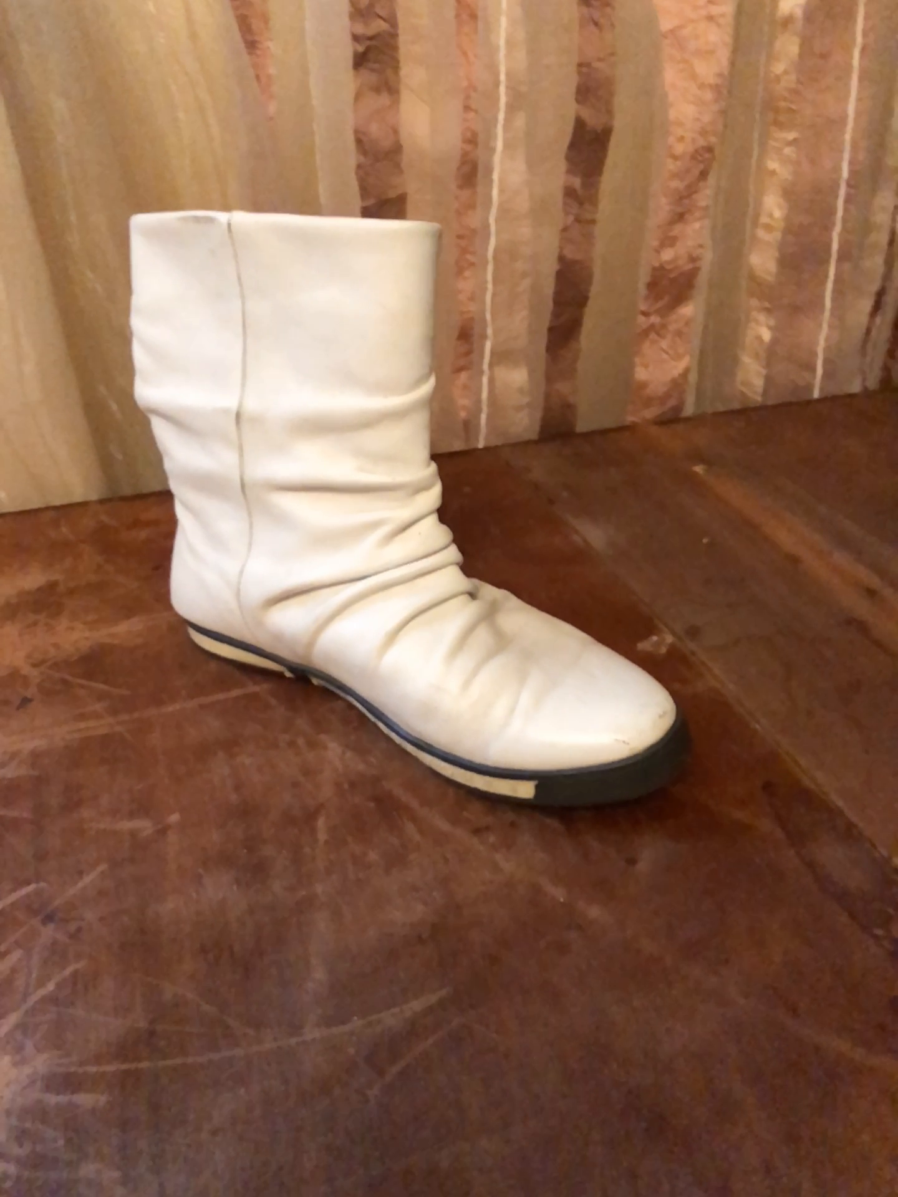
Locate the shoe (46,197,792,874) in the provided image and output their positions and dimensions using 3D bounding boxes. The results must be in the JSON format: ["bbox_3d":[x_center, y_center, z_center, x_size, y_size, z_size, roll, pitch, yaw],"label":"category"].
[{"bbox_3d":[-0.022,-0.042,0.363,0.241,0.169,0.090,20,35,34],"label":"shoe"}]
